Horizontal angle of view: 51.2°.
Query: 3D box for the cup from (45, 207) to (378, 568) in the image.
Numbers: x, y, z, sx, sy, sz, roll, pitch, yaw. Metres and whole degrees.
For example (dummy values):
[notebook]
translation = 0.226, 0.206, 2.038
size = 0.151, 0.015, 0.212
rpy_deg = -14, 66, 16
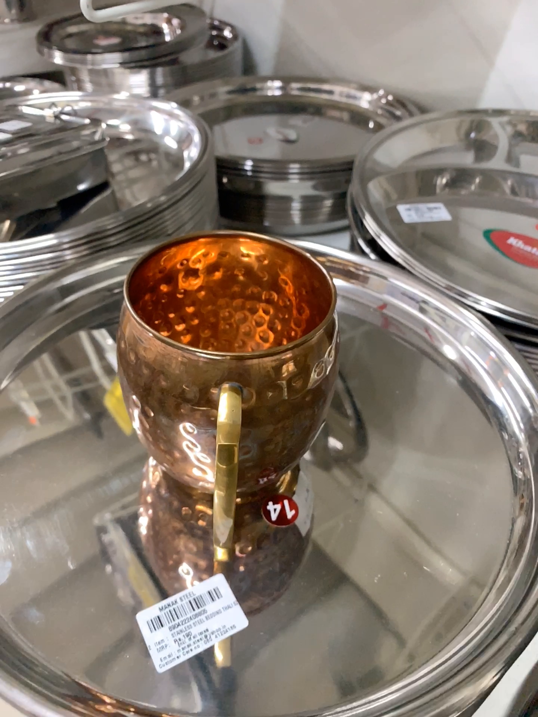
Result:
[cup]
translation = -0.014, 0.008, 0.222
size = 0.090, 0.090, 0.110
rpy_deg = 1, 43, 1
